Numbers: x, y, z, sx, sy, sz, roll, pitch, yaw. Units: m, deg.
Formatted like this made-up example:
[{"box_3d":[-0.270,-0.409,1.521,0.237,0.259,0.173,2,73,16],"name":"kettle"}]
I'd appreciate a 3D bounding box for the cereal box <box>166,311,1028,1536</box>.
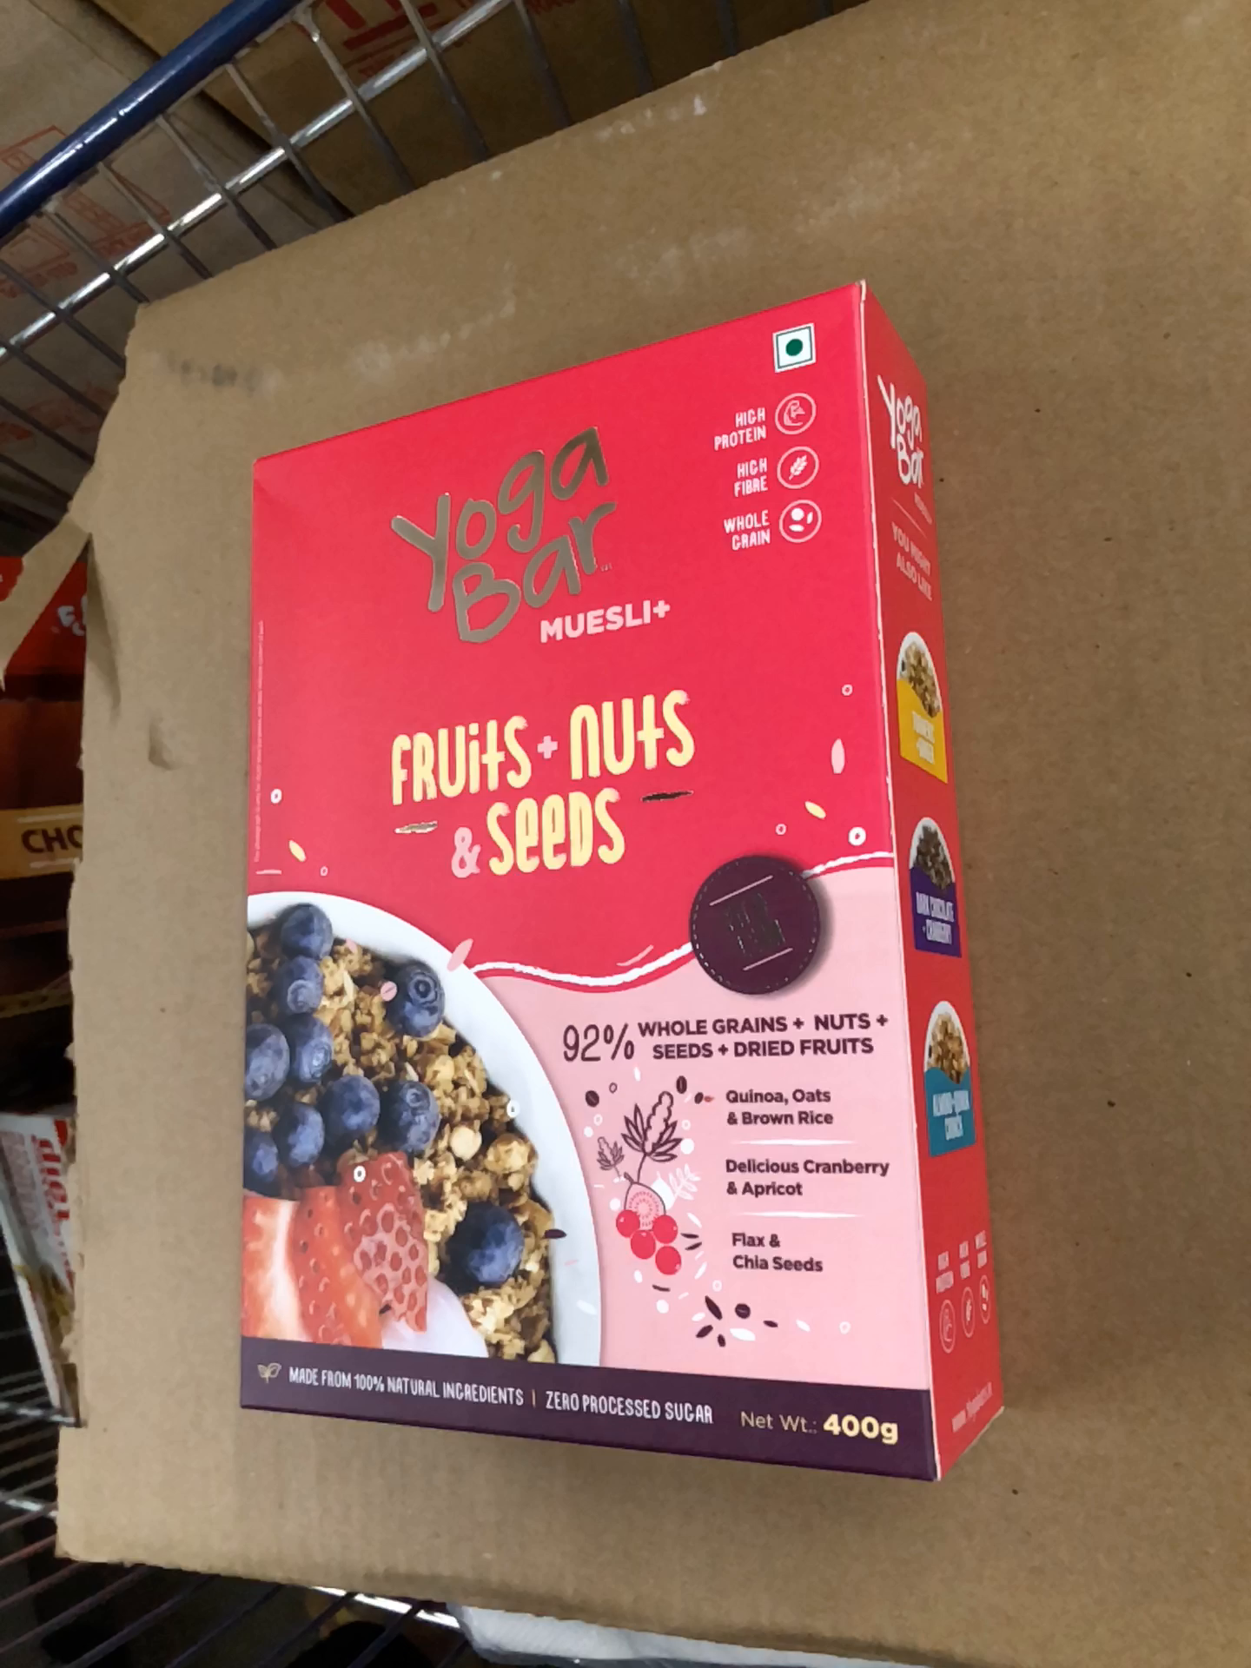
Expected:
[{"box_3d":[-0.013,0.020,0.301,0.170,0.060,0.210,-6,82,25],"name":"cereal box"}]
